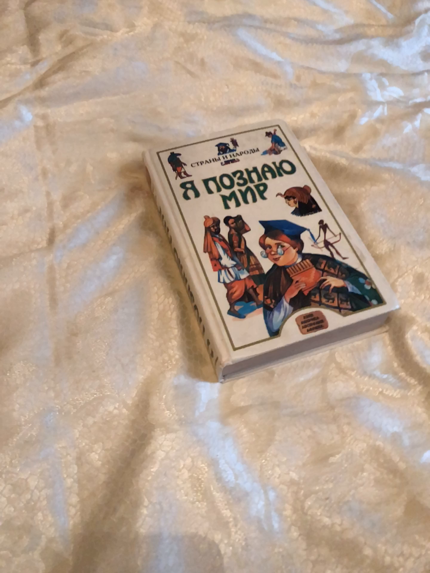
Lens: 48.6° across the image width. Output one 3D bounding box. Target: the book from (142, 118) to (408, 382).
[{"bbox_3d":[0.035,-0.042,0.373,0.134,0.037,0.198,-16,60,-11],"label":"book"}]
